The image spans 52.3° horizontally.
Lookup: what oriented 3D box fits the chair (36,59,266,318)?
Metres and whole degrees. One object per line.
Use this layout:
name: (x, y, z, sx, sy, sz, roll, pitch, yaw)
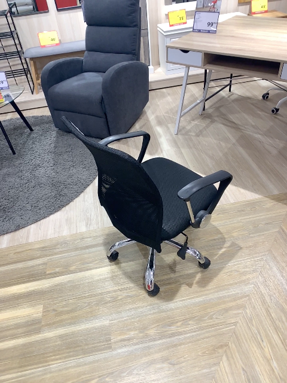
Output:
chair: (0.043, -0.038, 1.391, 0.602, 0.865, 0.643, -33, 47, -28)
